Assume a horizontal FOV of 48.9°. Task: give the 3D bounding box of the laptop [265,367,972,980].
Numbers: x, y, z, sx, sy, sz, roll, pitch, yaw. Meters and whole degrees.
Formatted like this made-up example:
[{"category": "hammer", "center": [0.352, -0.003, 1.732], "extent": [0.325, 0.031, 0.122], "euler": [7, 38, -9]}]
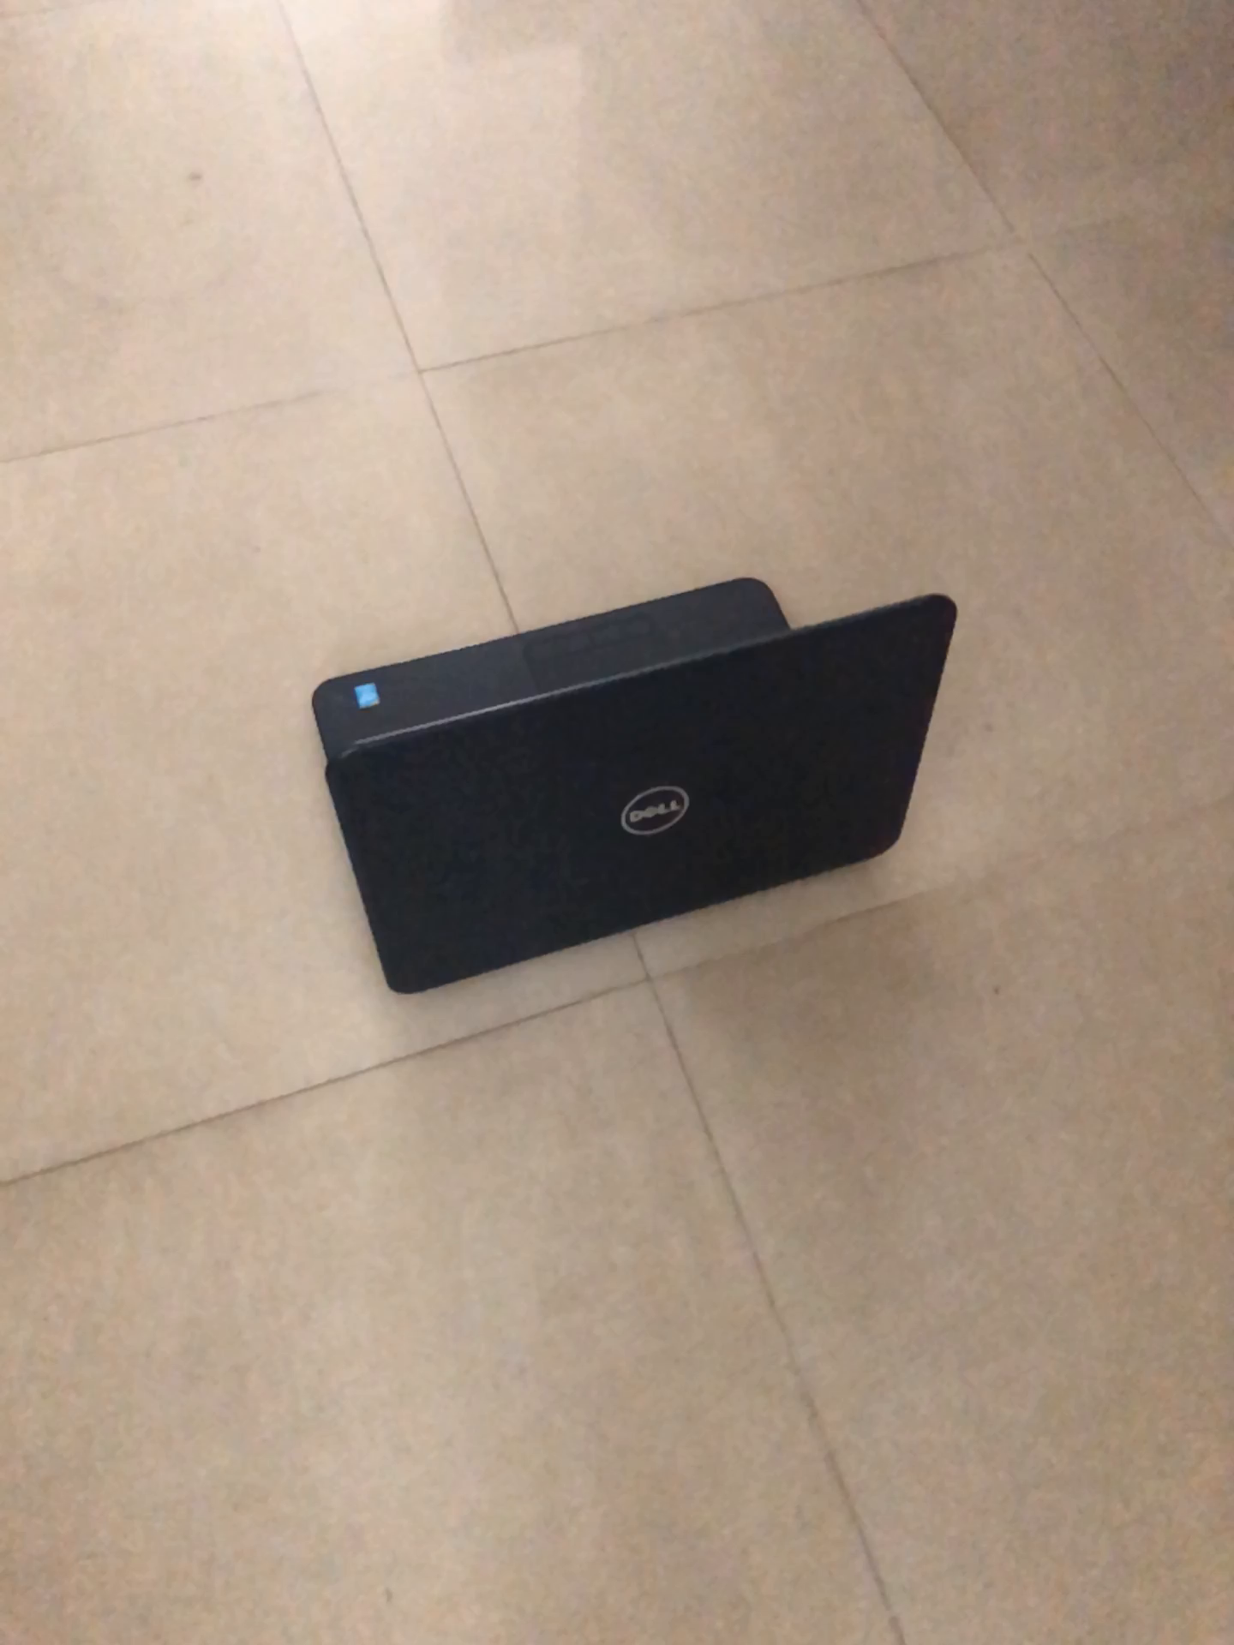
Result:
[{"category": "laptop", "center": [-0.011, -0.096, 0.888], "extent": [0.351, 0.227, 0.248], "euler": [-16, 62, -11]}]
